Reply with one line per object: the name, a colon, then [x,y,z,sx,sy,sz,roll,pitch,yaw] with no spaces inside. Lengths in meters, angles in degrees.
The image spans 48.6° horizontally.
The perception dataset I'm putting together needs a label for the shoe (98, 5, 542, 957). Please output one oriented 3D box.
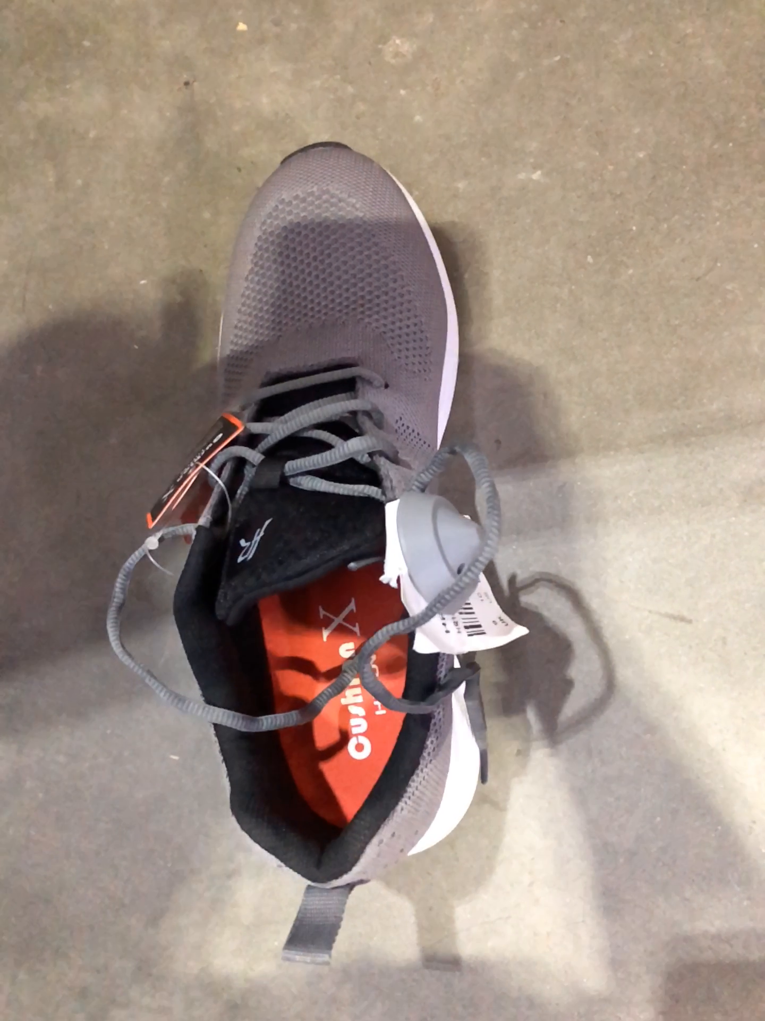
shoe: [-0.021,-0.011,0.344,0.110,0.100,0.320,-11,82,13]
